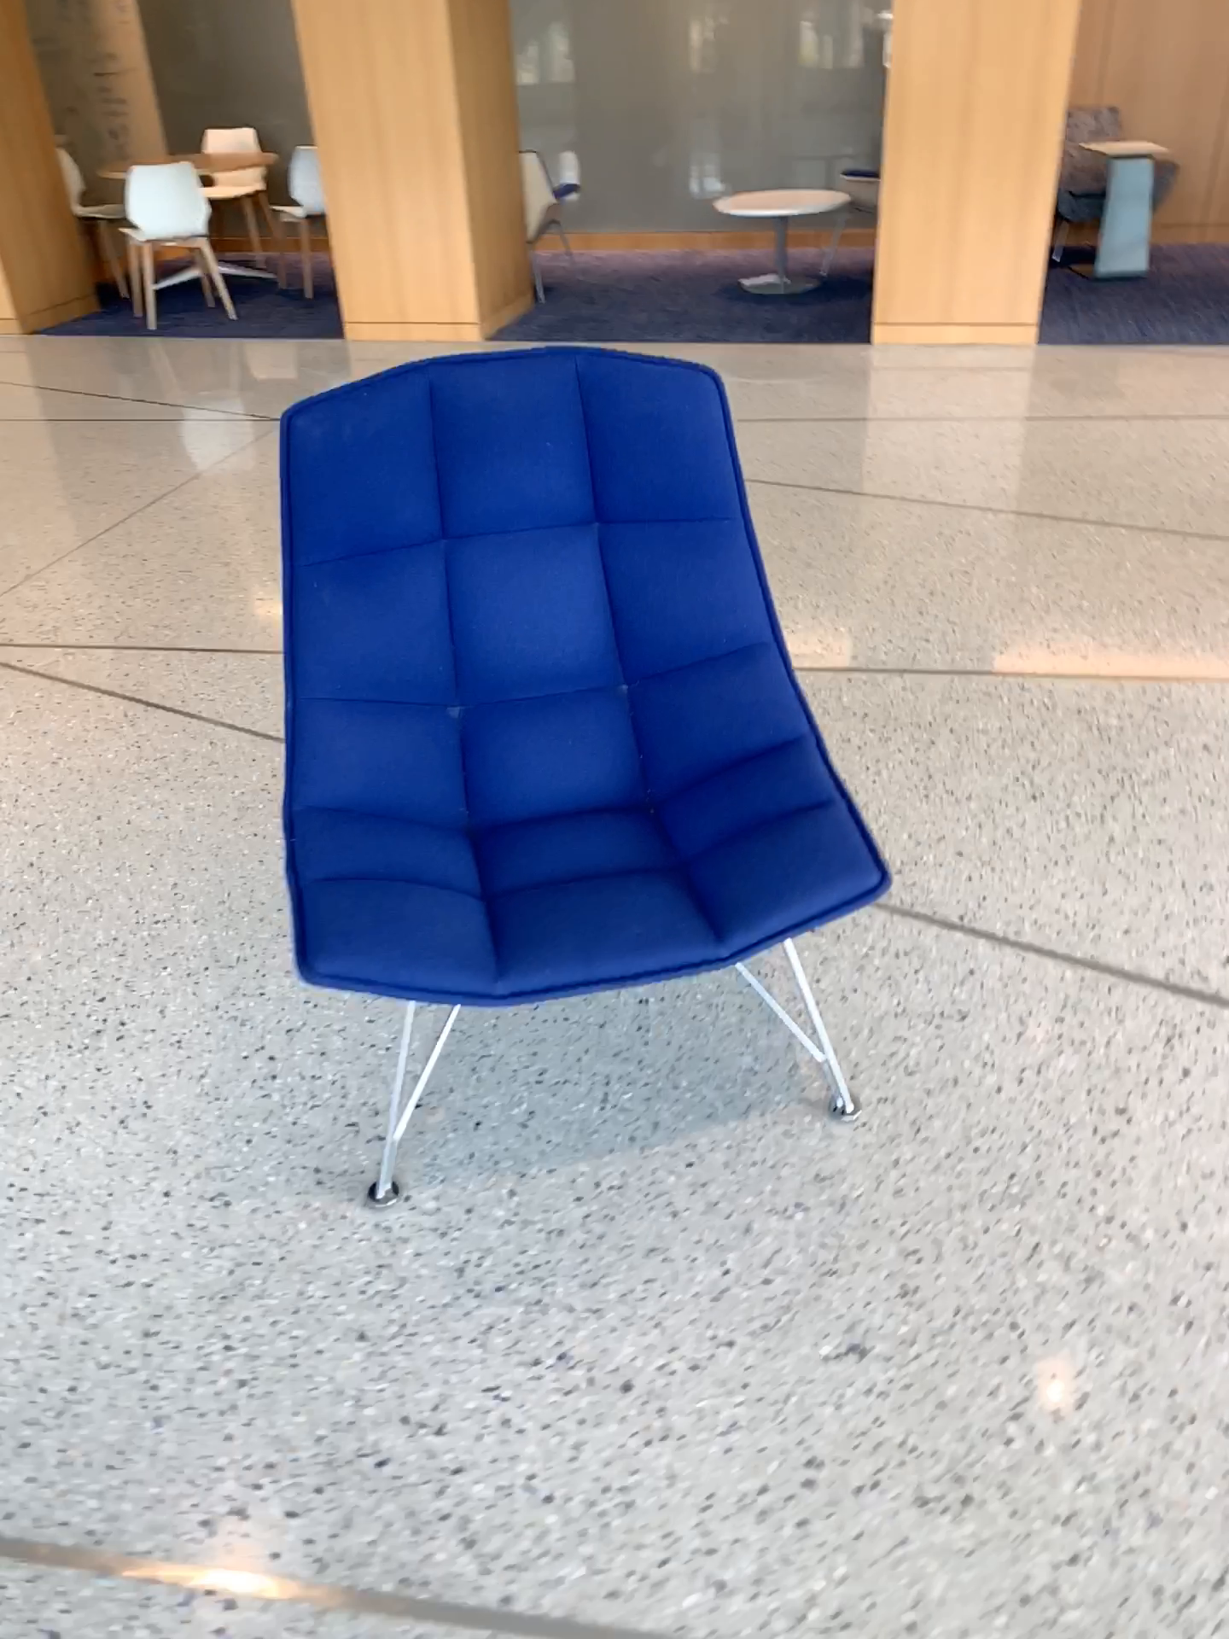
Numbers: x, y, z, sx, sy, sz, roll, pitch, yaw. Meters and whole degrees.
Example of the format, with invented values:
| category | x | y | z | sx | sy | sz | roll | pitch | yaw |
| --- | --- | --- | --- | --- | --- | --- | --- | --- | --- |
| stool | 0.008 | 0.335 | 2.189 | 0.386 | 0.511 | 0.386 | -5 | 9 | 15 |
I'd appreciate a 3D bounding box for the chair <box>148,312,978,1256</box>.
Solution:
| category | x | y | z | sx | sy | sz | roll | pitch | yaw |
| --- | --- | --- | --- | --- | --- | --- | --- | --- | --- |
| chair | -0.082 | -0.106 | 1.788 | 0.798 | 0.963 | 0.835 | -8 | 32 | -7 |
